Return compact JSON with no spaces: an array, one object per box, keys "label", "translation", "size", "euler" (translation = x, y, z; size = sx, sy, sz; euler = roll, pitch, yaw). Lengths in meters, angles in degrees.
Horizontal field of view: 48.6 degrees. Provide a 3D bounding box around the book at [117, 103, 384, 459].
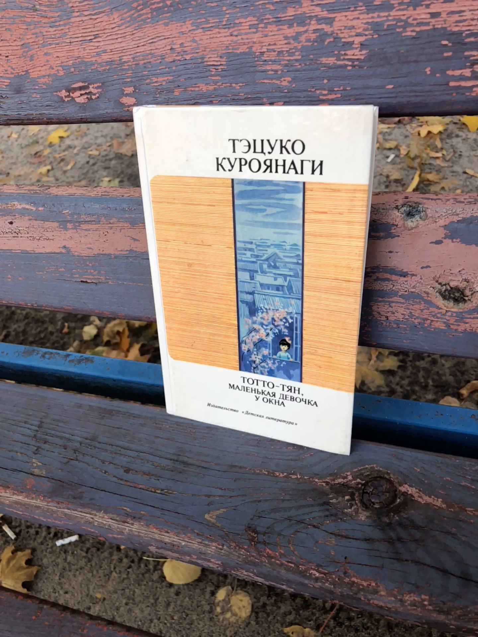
[{"label":"book","translation":[0.004,-0.016,0.304],"size":[0.134,0.198,0.016],"euler":[8,27,18]}]
